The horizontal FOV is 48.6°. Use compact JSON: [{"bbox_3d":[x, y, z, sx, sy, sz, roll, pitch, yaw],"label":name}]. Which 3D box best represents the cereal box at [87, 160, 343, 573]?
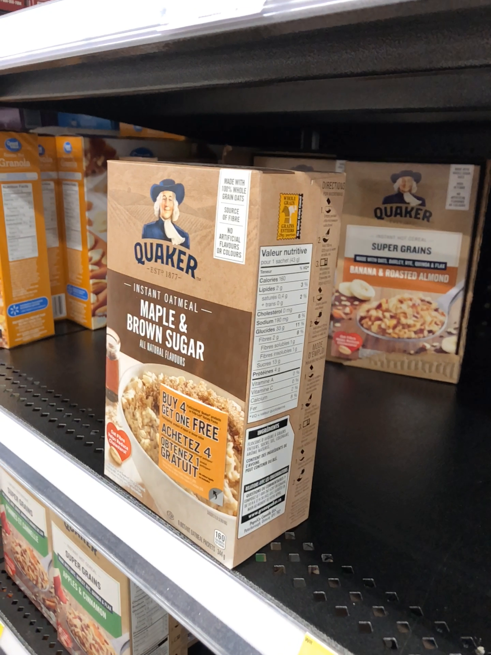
[{"bbox_3d":[-0.026,0.008,0.305,0.060,0.189,0.130,-12,22,-44],"label":"cereal box"}]

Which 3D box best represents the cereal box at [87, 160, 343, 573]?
[{"bbox_3d":[-0.026,0.008,0.305,0.060,0.189,0.130,-12,22,-44],"label":"cereal box"}]
